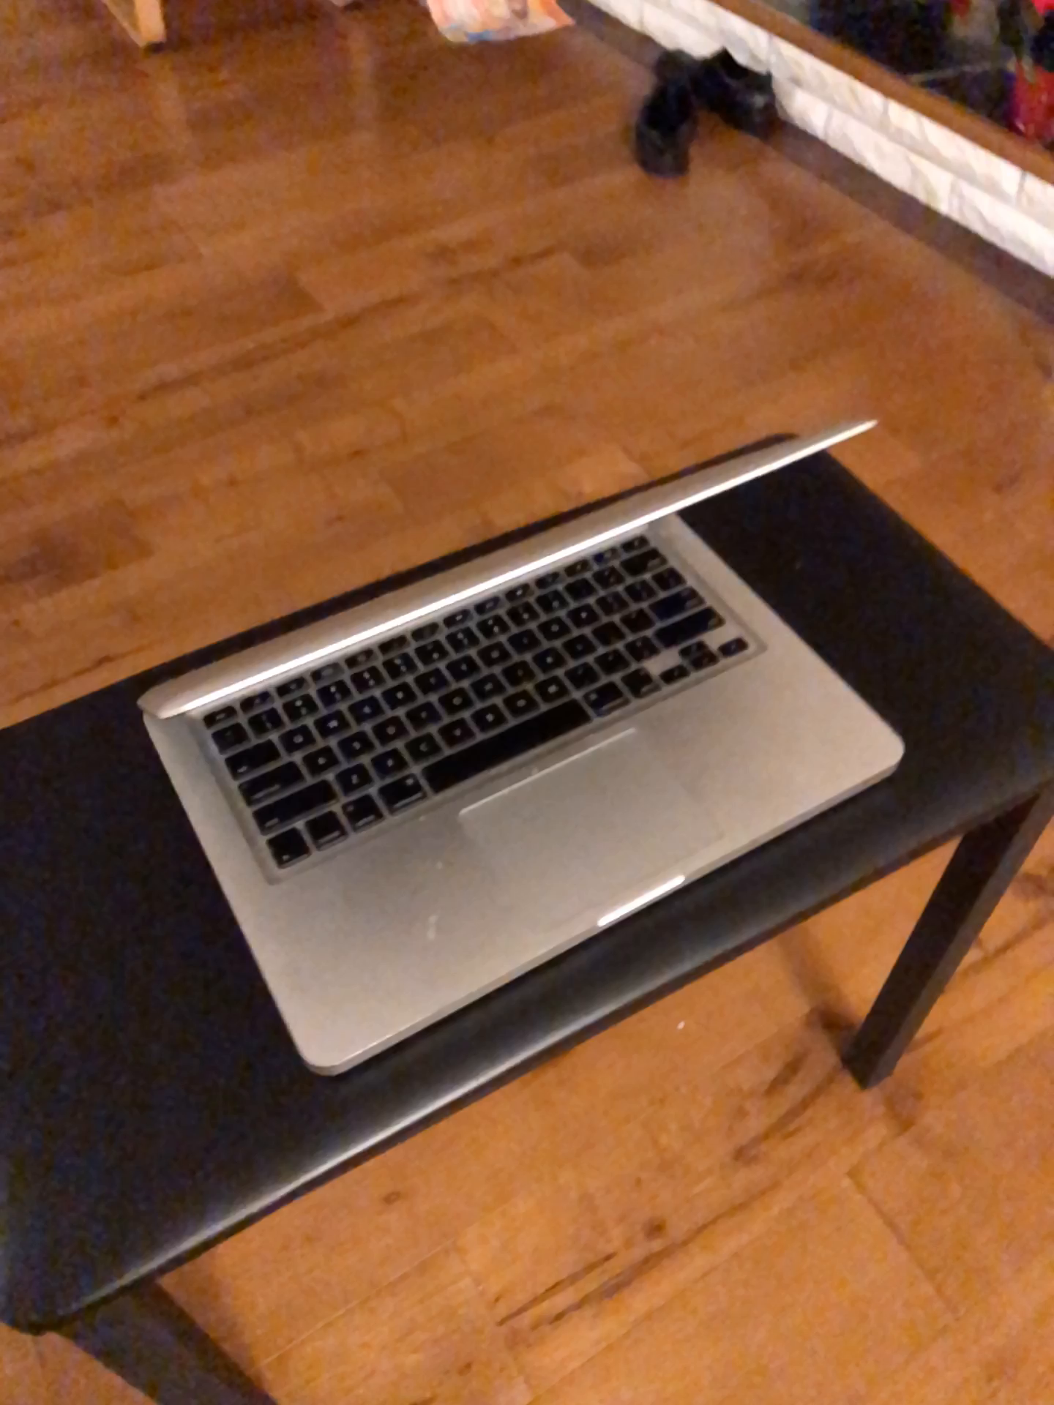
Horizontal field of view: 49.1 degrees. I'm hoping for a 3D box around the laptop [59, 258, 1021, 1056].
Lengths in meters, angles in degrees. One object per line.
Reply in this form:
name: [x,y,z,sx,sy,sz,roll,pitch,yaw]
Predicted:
laptop: [-0.003,-0.033,0.511,0.309,0.144,0.209,-25,55,-15]
